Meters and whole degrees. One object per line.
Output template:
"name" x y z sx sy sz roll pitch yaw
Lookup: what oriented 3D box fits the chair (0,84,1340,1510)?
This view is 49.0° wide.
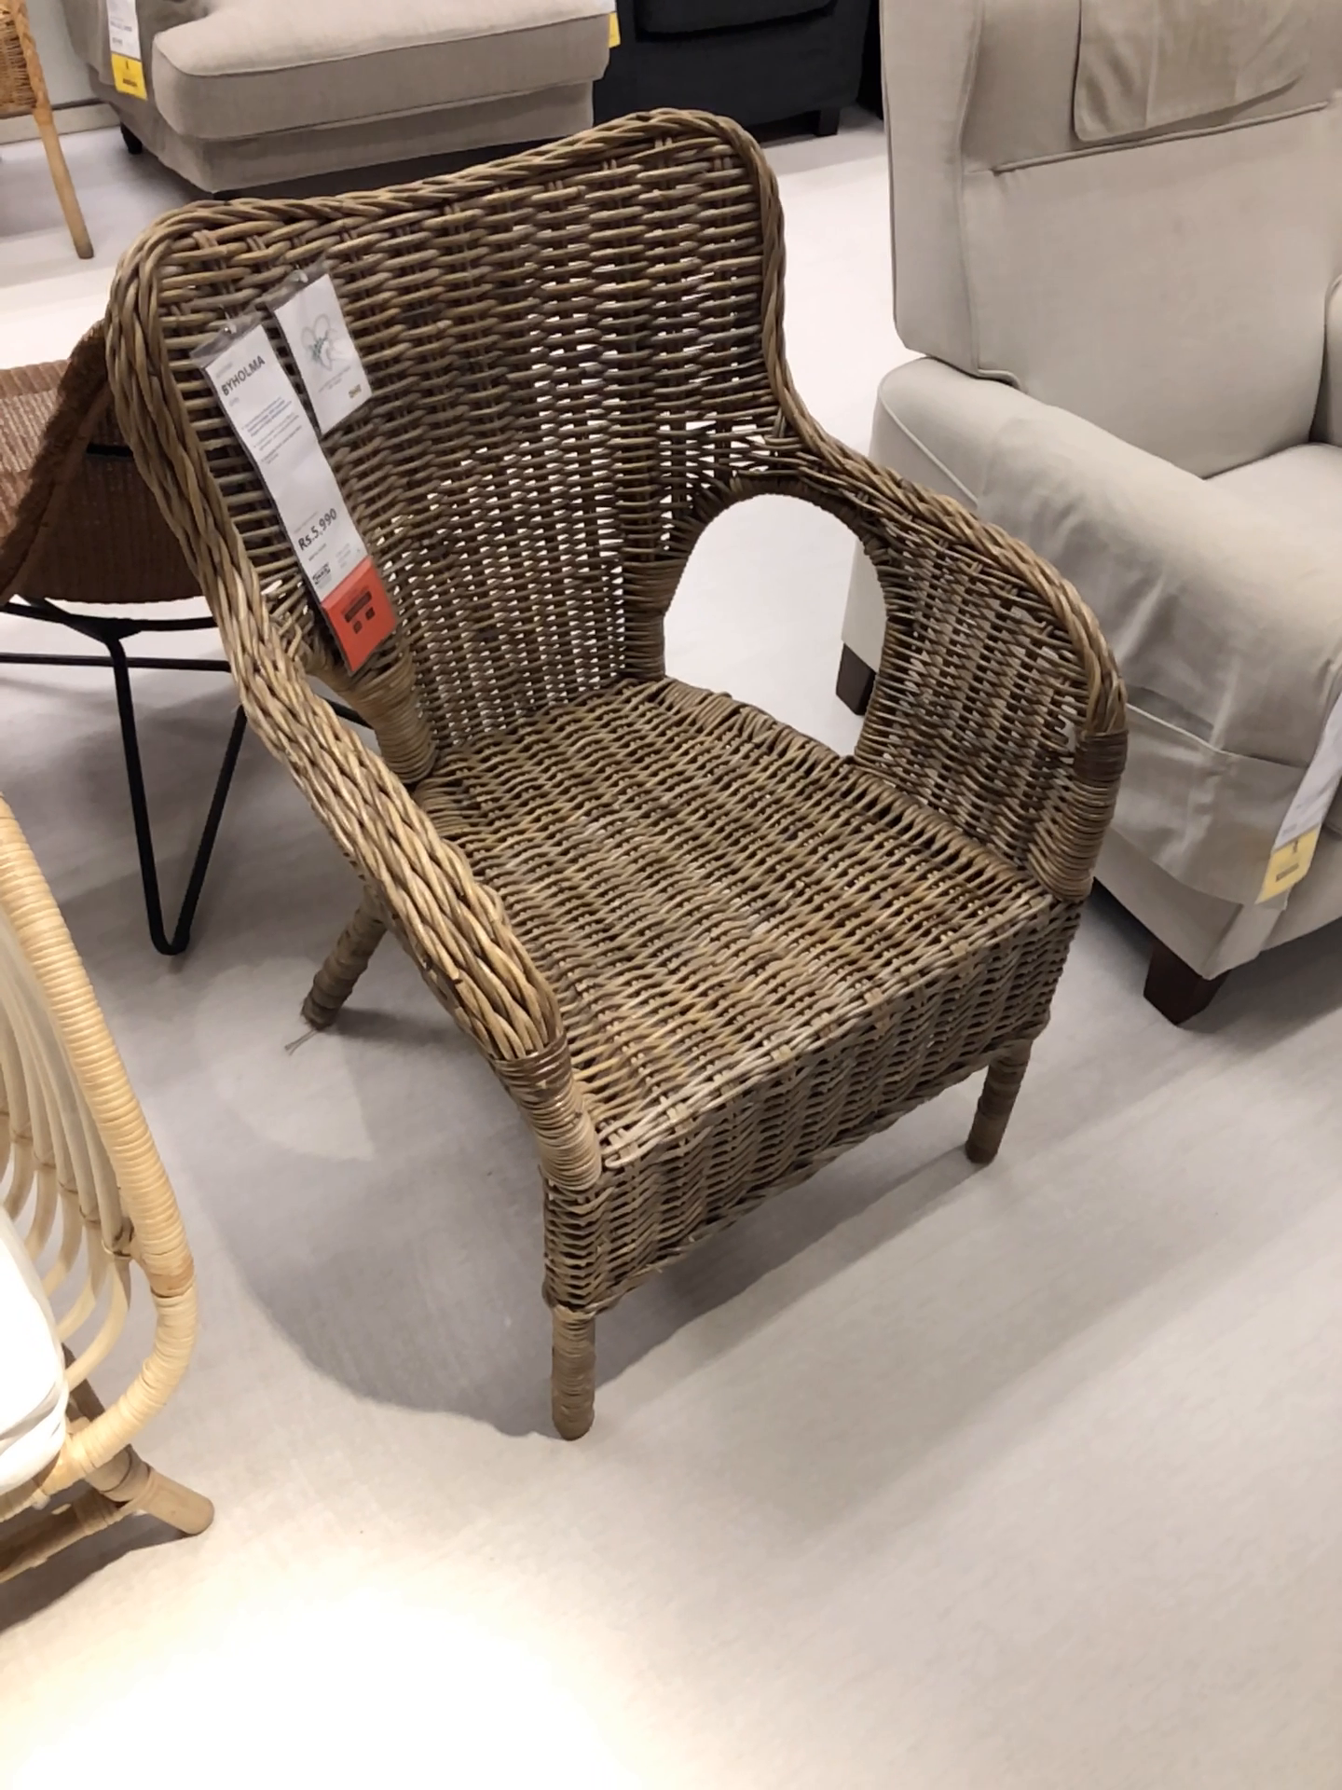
"chair" -0.045 -0.086 1.362 0.672 0.924 0.683 -26 54 -25
